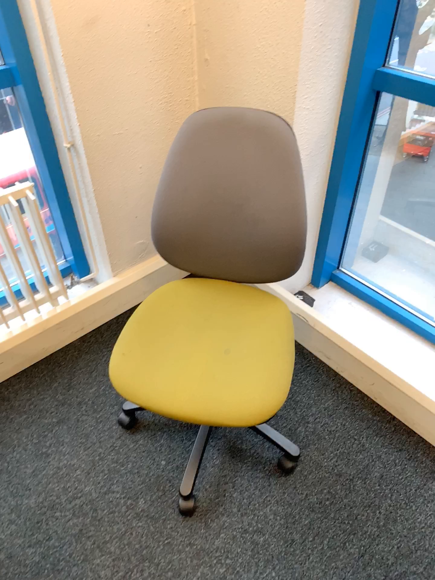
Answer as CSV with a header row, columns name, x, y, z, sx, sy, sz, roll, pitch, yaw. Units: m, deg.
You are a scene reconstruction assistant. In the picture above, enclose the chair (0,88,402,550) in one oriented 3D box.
name,x,y,z,sx,sy,sz,roll,pitch,yaw
chair,-0.030,0.069,1.147,0.693,0.877,0.683,8,43,10
